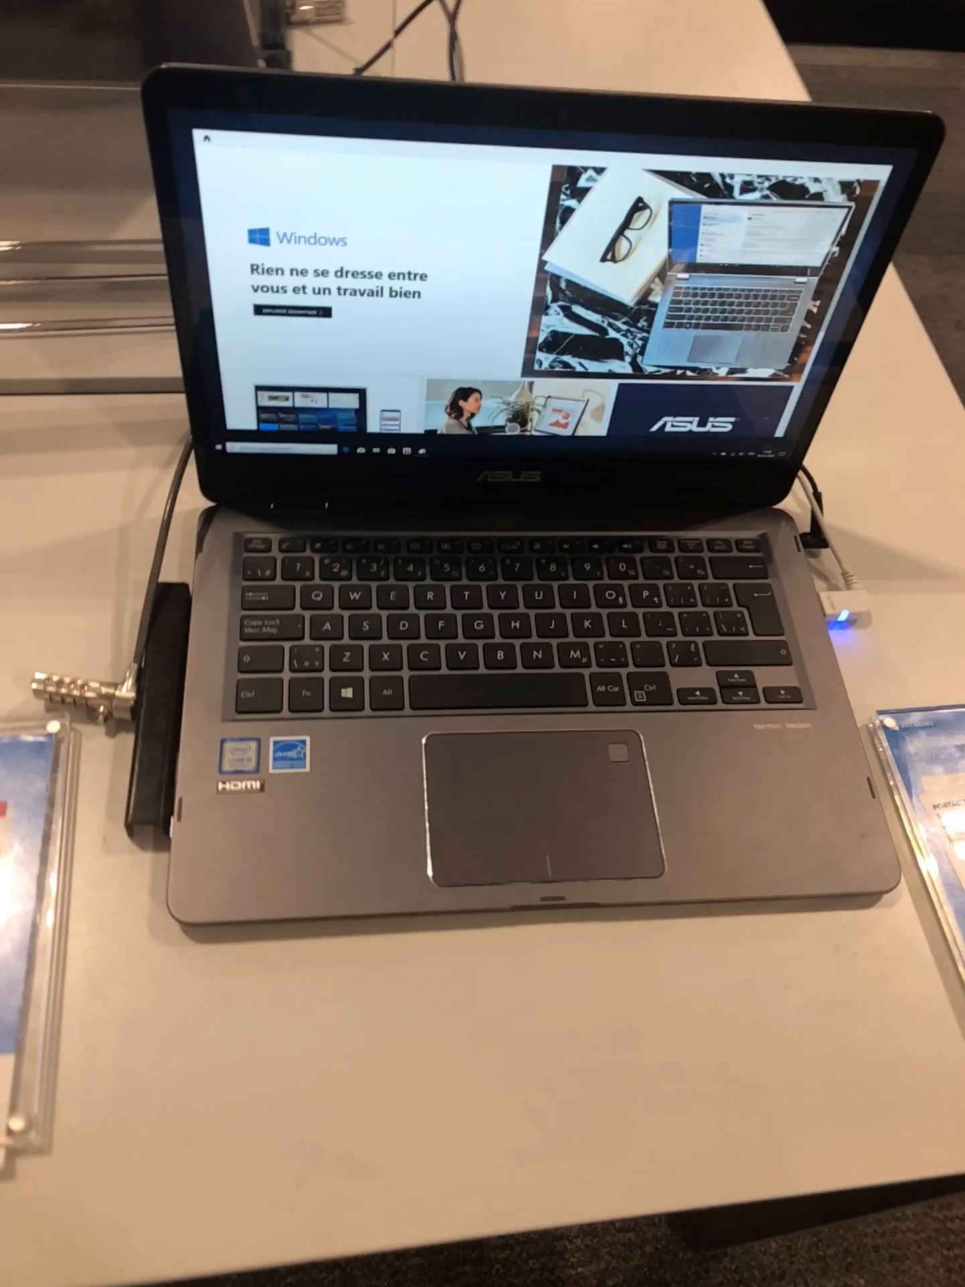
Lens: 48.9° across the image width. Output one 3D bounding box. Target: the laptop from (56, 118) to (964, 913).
[{"bbox_3d":[0.029,-0.043,0.421,0.302,0.217,0.224,-1,55,-6],"label":"laptop"}]
